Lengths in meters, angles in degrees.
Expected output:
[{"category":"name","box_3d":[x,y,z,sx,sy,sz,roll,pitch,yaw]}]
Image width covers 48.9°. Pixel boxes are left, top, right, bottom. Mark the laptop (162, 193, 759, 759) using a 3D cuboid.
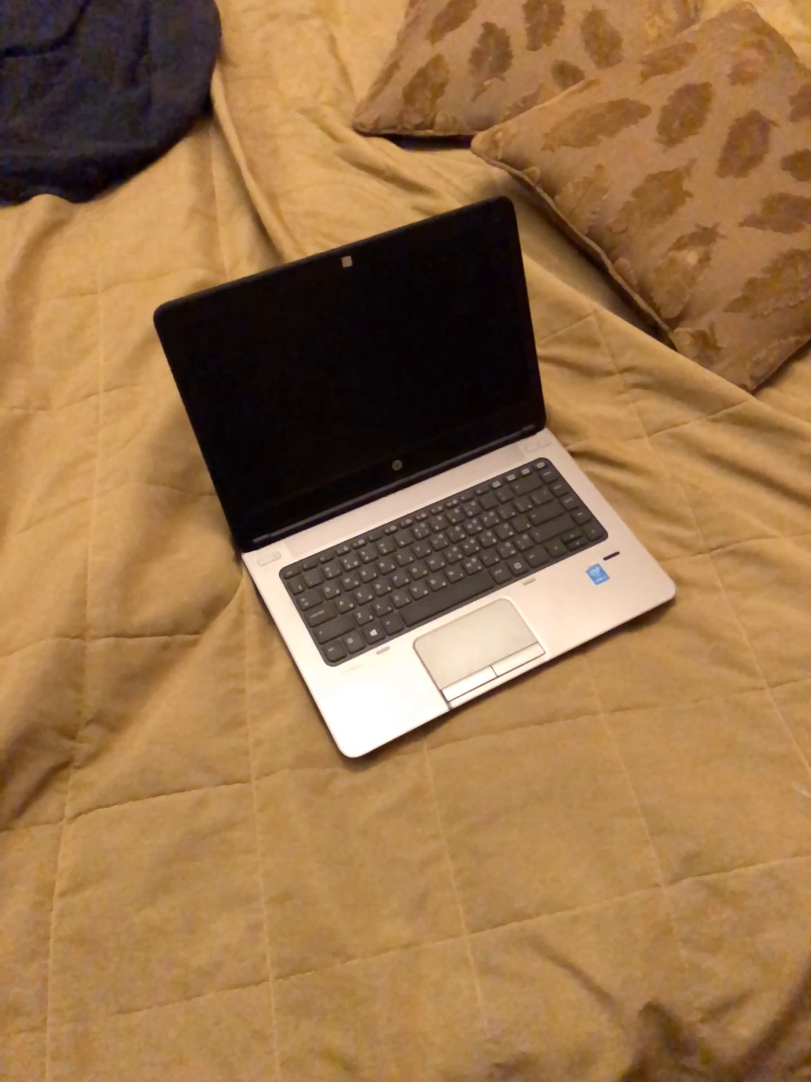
[{"category":"laptop","box_3d":[0.026,-0.070,0.758,0.332,0.189,0.339,-24,61,-16]}]
